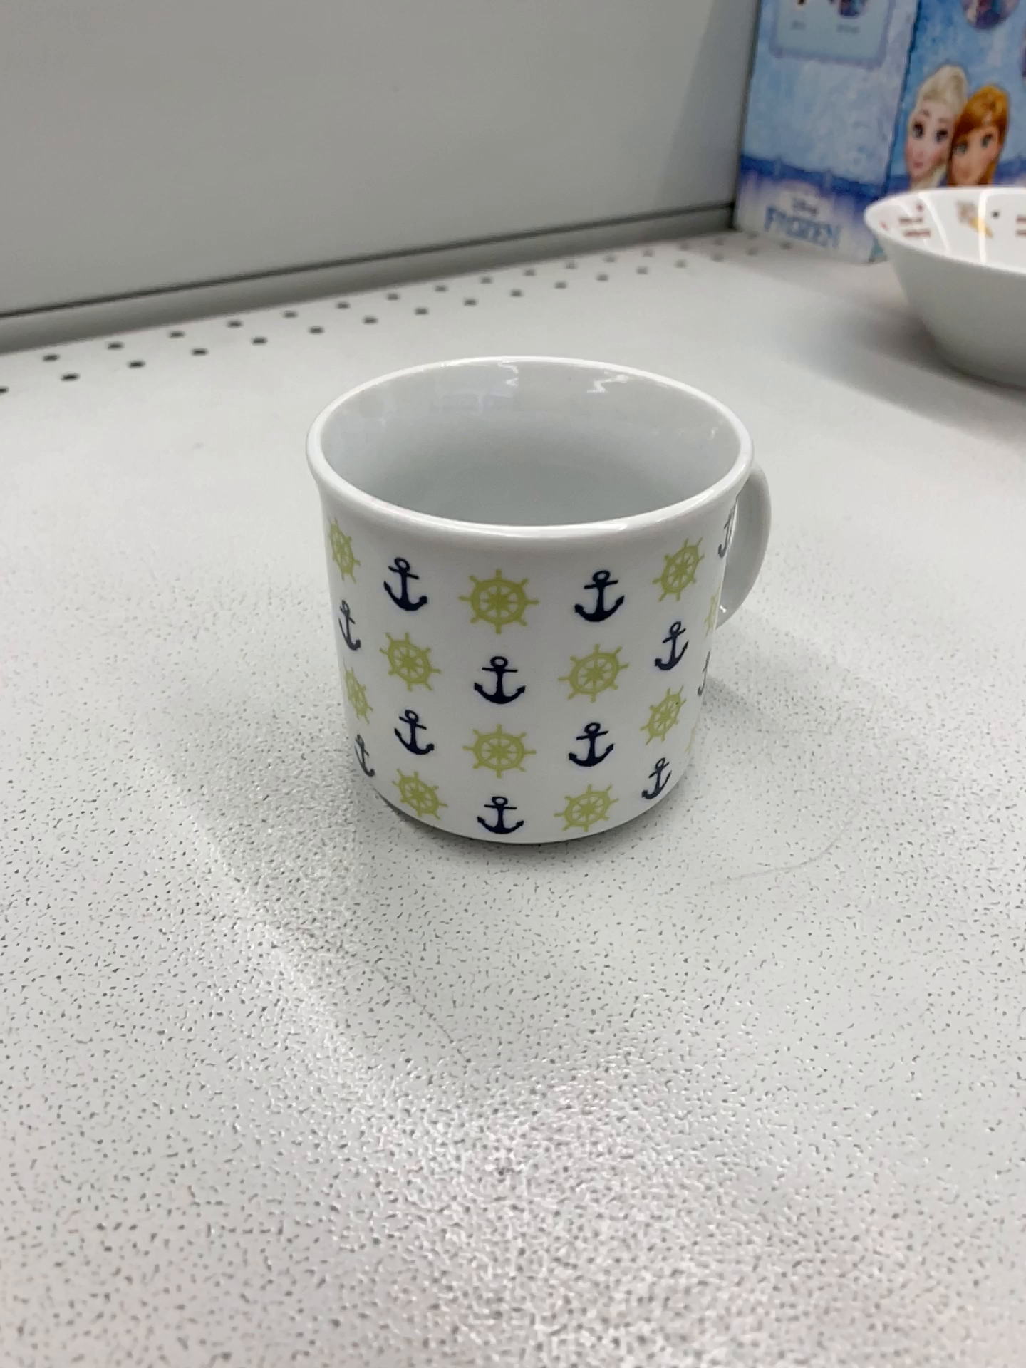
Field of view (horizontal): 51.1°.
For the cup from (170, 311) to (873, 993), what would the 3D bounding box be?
[{"bbox_3d":[0.004,-0.015,0.207,0.078,0.076,0.096,26,43,33],"label":"cup"}]
